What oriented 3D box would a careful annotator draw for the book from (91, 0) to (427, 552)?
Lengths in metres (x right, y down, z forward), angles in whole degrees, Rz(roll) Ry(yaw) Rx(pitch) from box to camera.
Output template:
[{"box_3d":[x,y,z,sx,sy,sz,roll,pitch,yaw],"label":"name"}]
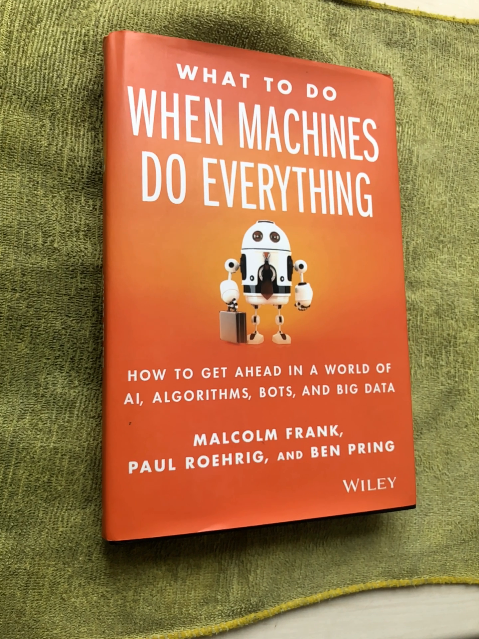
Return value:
[{"box_3d":[0.009,-0.023,0.273,0.160,0.040,0.240,0,84,-19],"label":"book"}]
